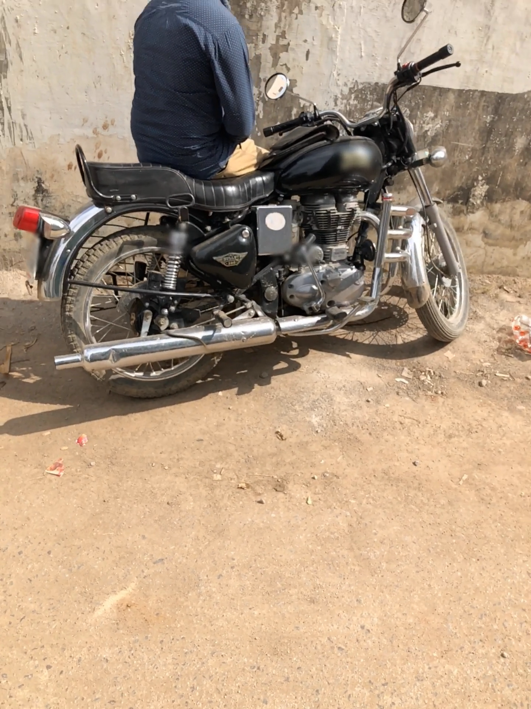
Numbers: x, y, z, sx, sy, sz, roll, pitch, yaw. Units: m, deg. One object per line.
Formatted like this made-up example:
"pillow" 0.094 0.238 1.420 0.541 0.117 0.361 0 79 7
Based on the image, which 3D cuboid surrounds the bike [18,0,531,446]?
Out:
"bike" 0.080 -0.701 2.467 1.938 1.317 0.883 -13 36 -25
